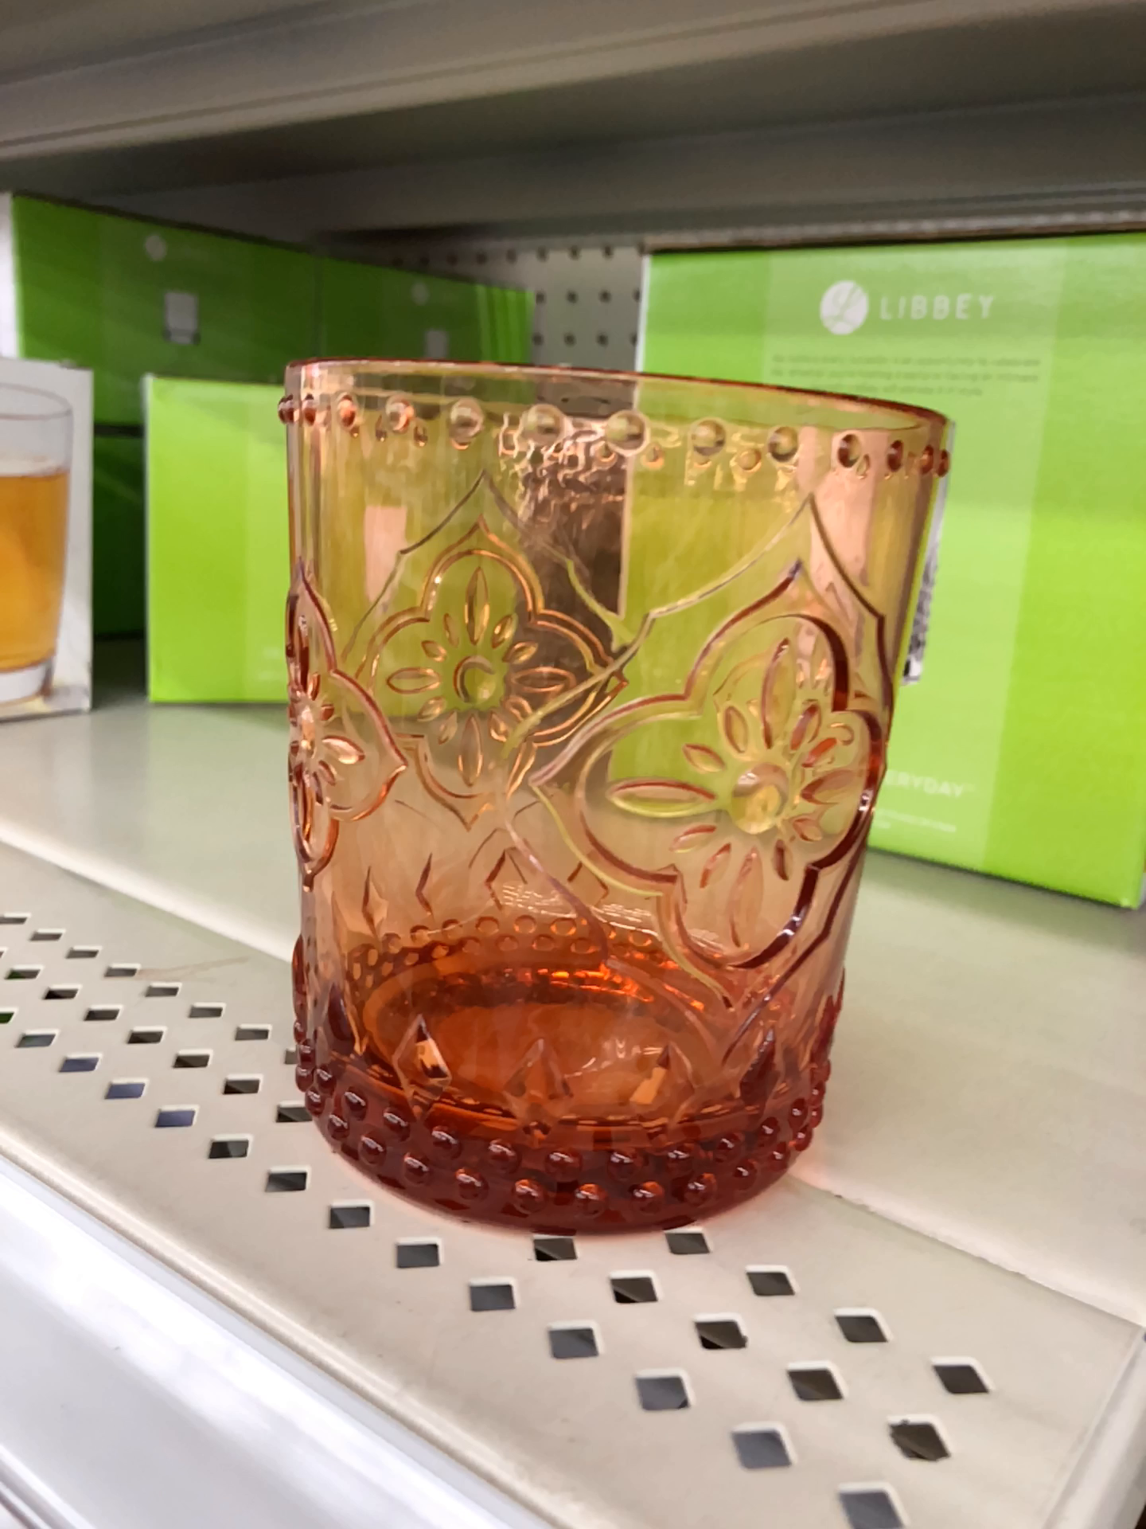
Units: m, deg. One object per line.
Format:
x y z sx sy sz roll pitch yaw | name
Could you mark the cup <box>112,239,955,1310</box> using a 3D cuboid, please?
-0.001 -0.007 0.181 0.090 0.110 0.080 8 13 14 | cup
